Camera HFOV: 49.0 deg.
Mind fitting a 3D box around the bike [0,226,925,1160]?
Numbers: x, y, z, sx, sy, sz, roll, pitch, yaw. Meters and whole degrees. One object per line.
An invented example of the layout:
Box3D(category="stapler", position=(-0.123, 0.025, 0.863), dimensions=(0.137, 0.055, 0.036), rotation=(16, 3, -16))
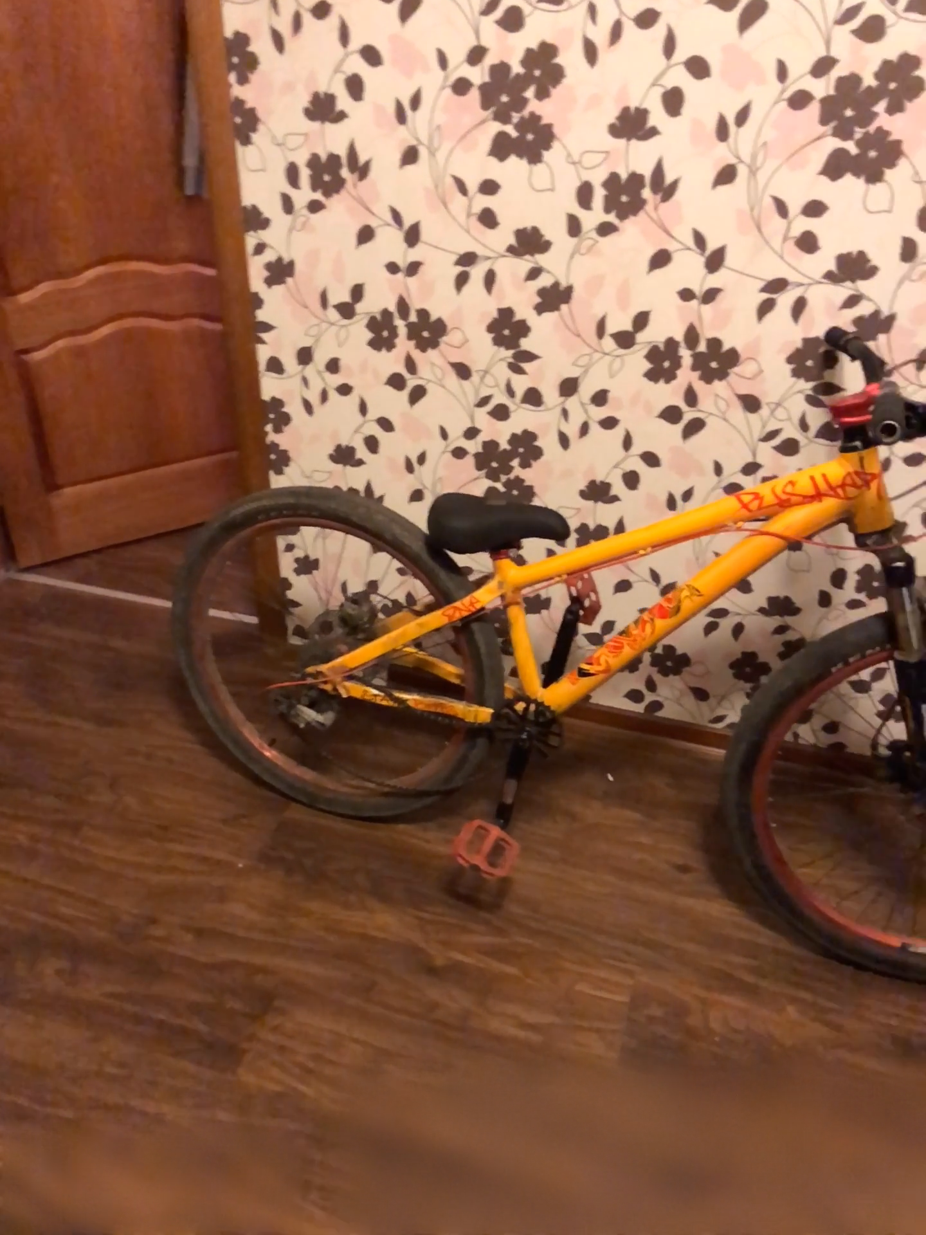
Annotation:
Box3D(category="bike", position=(0.228, -0.007, 1.598), dimensions=(1.676, 1.005, 0.664), rotation=(9, 33, 18))
